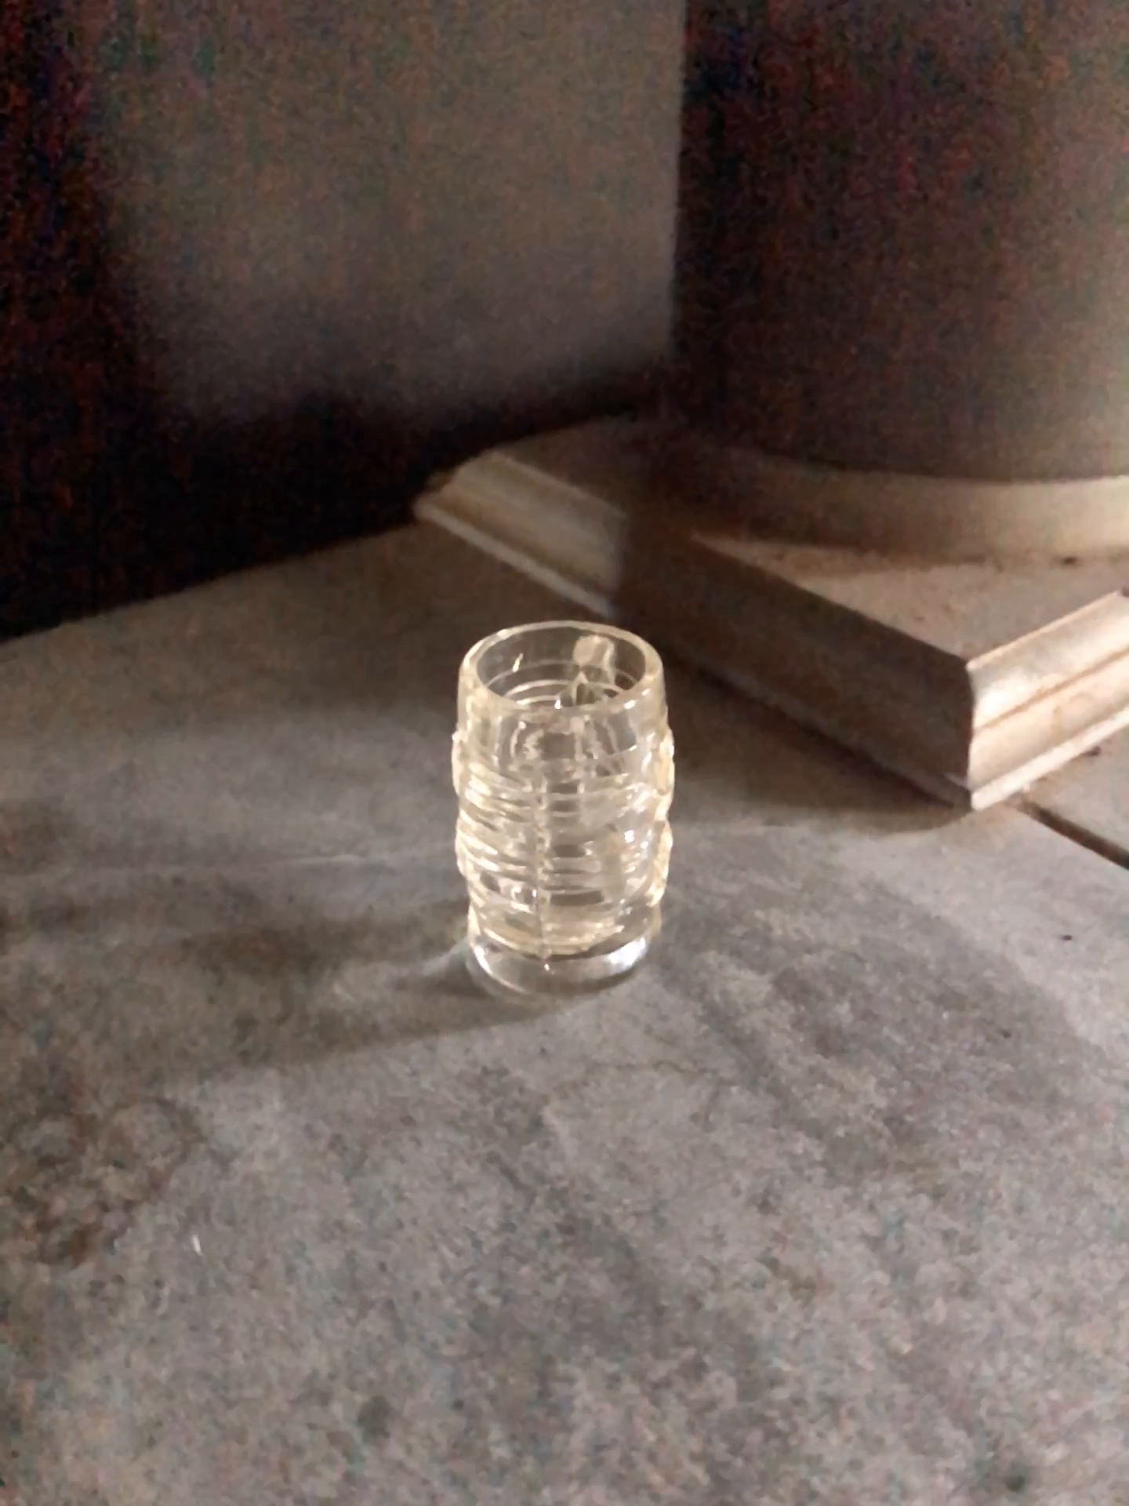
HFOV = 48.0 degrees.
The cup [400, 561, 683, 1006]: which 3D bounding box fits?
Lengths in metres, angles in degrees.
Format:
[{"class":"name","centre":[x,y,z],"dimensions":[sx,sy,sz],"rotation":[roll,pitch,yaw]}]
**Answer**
[{"class":"cup","centre":[-0.003,0.003,0.217],"dimensions":[0.040,0.050,0.060],"rotation":[-2,33,0]}]
